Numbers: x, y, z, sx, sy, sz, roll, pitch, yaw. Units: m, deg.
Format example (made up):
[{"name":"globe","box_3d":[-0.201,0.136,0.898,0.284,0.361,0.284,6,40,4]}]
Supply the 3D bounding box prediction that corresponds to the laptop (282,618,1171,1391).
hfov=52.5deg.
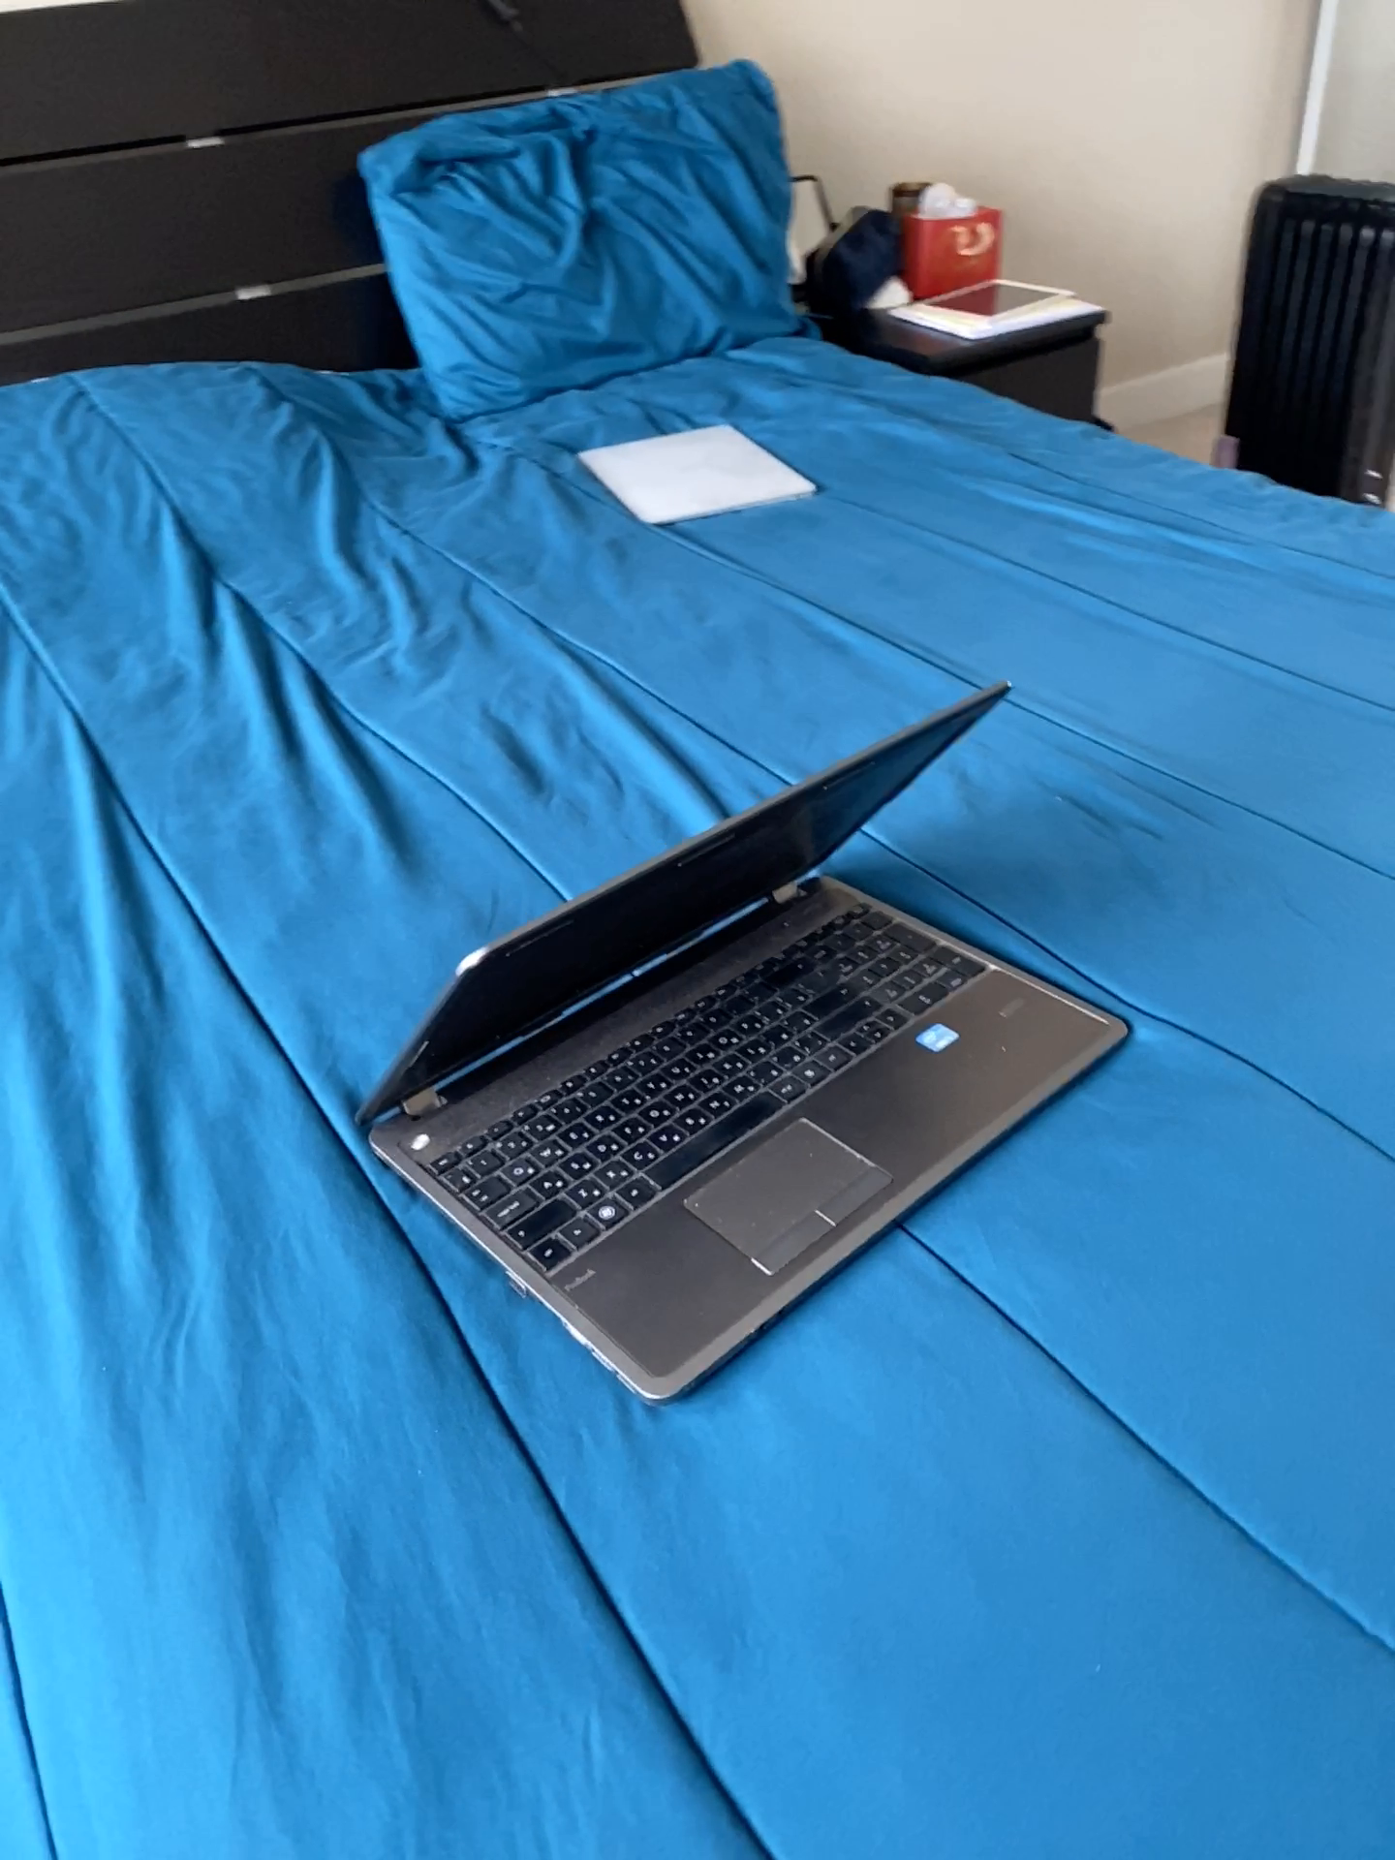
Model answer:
[{"name":"laptop","box_3d":[0.026,0.006,0.763,0.369,0.192,0.256,-29,41,-32]}]
